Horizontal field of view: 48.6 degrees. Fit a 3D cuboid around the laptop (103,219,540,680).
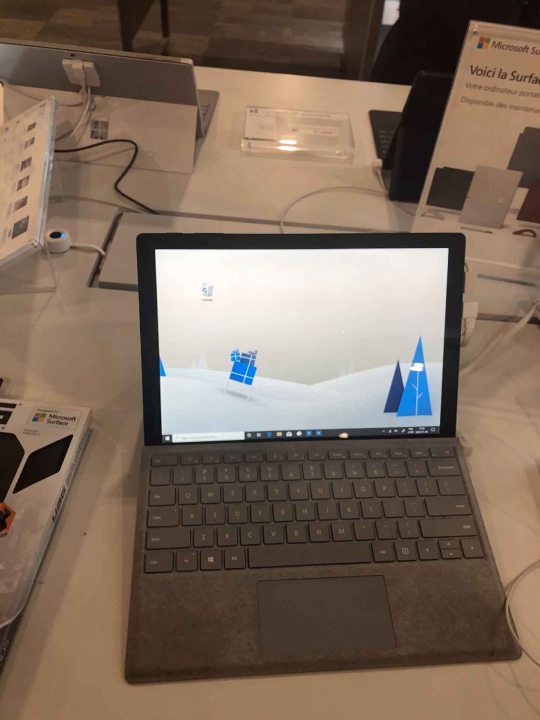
[{"bbox_3d":[0.037,0.052,0.476,0.285,0.150,0.309,0,50,-6],"label":"laptop"}]
